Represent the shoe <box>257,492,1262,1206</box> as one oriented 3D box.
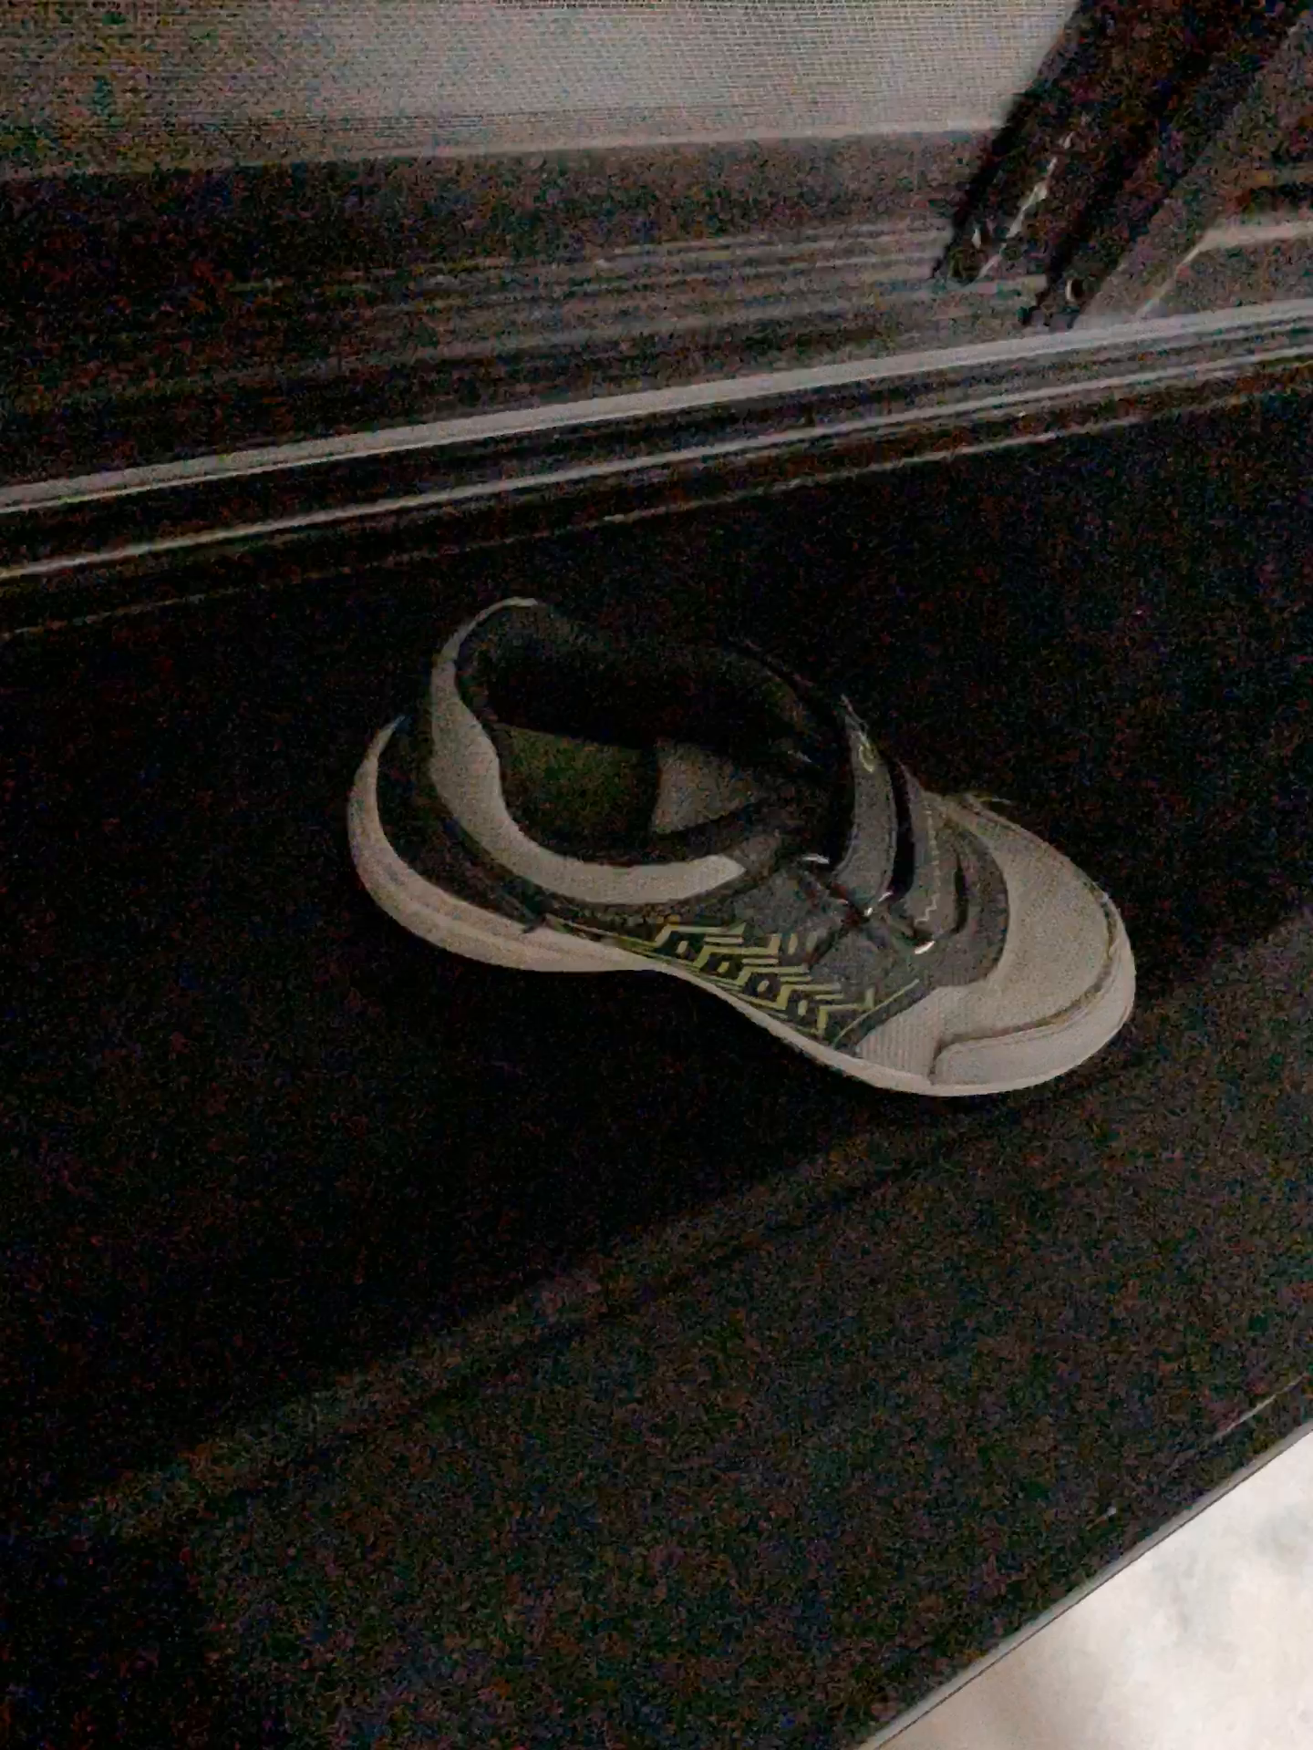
[{"bbox_3d":[0.028,0.002,0.350,0.230,0.080,0.090,18,60,-10],"label":"shoe"}]
